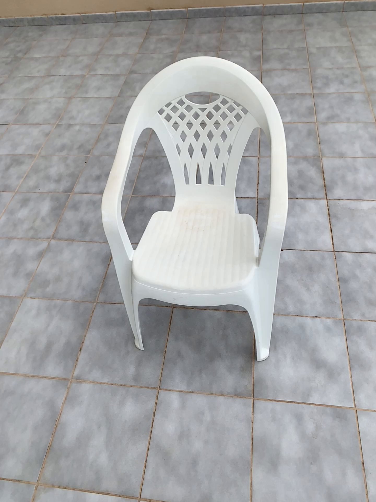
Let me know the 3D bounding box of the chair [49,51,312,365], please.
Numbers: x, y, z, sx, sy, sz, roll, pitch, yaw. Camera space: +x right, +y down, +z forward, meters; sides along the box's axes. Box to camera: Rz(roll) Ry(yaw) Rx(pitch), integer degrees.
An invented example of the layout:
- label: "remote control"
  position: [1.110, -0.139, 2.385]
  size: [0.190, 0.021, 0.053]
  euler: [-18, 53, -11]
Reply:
- label: "chair"
  position: [0.046, -0.103, 1.287]
  size: [0.543, 0.823, 0.612]
  euler: [3, 51, 9]
